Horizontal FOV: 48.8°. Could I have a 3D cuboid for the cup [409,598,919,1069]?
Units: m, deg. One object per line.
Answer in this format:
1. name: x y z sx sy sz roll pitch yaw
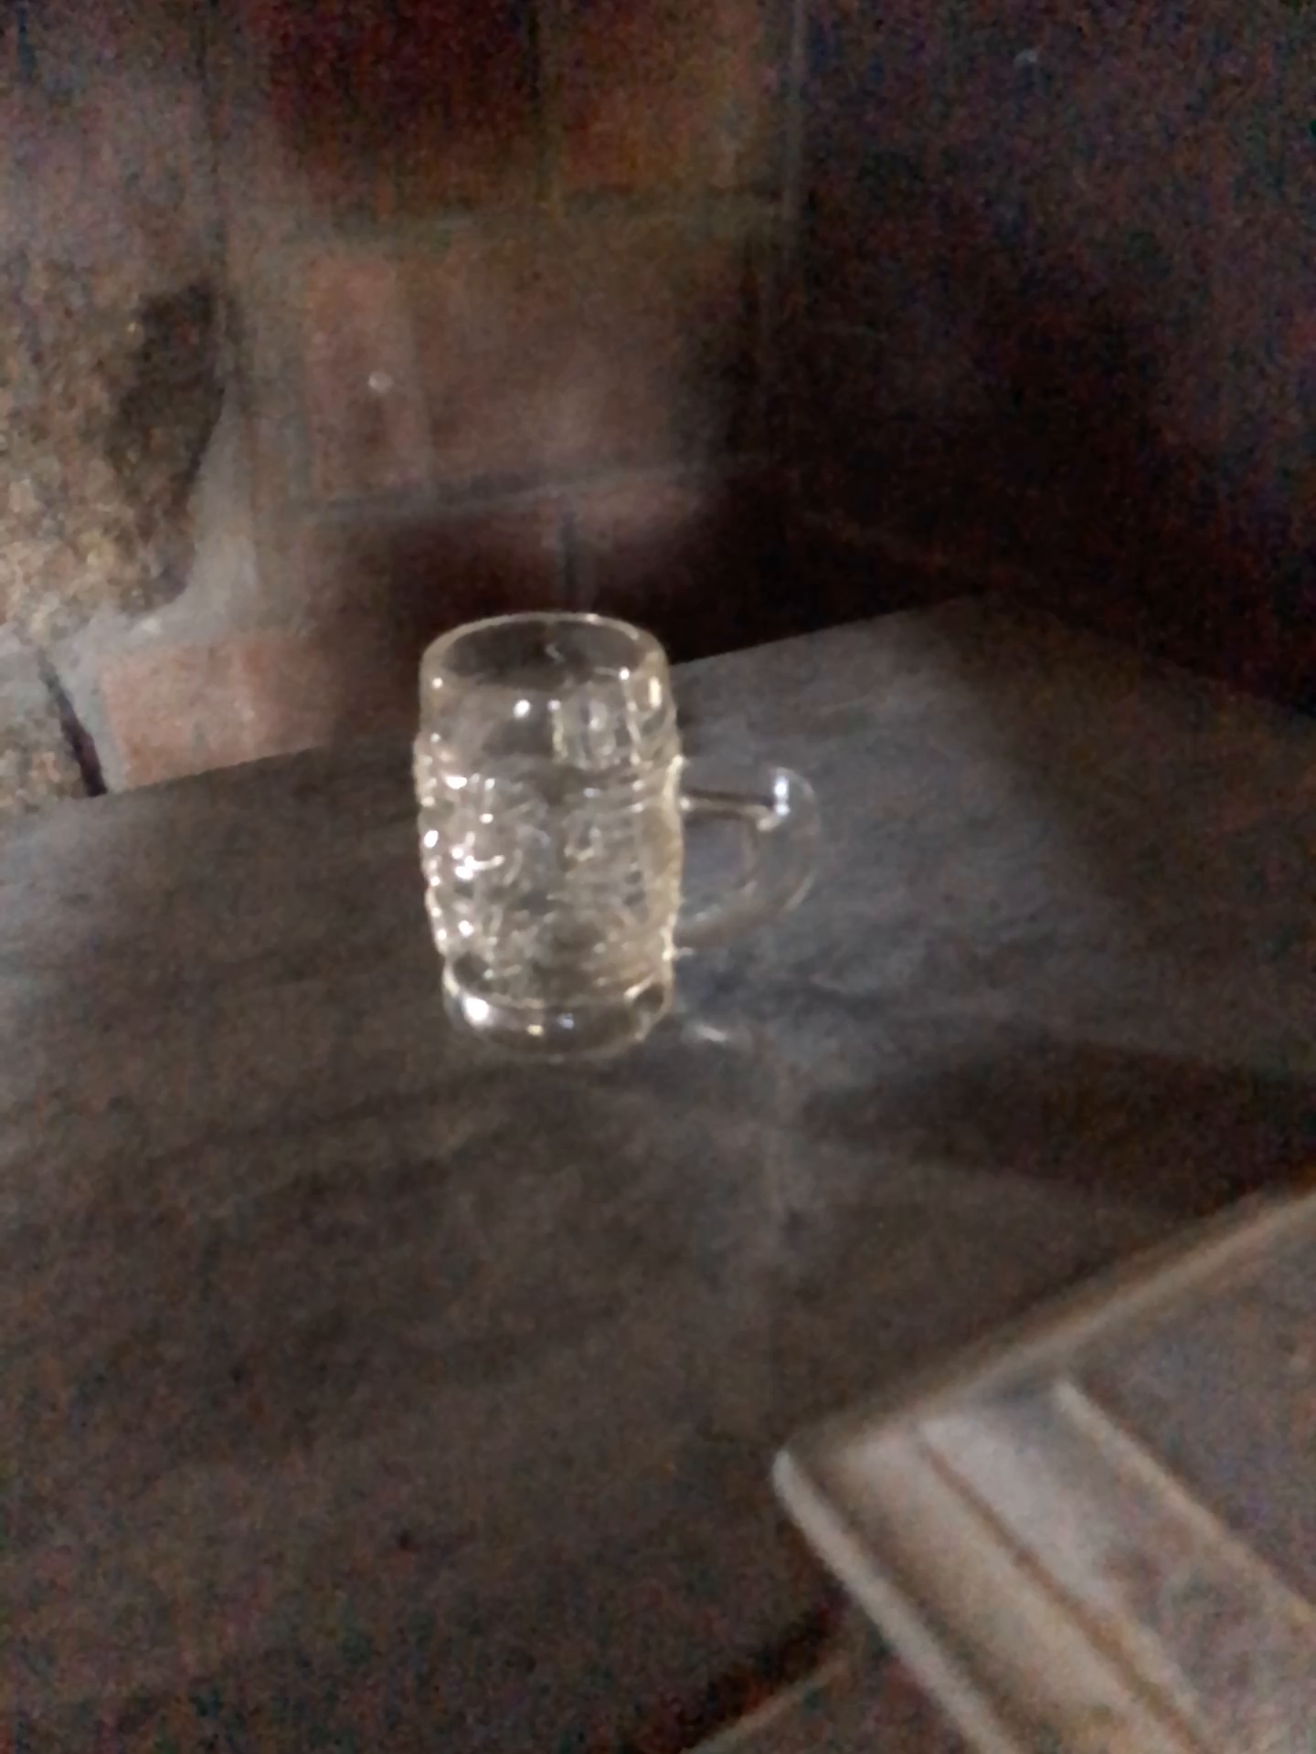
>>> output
1. cup: 0.003 -0.007 0.199 0.060 0.050 0.040 2 28 6
